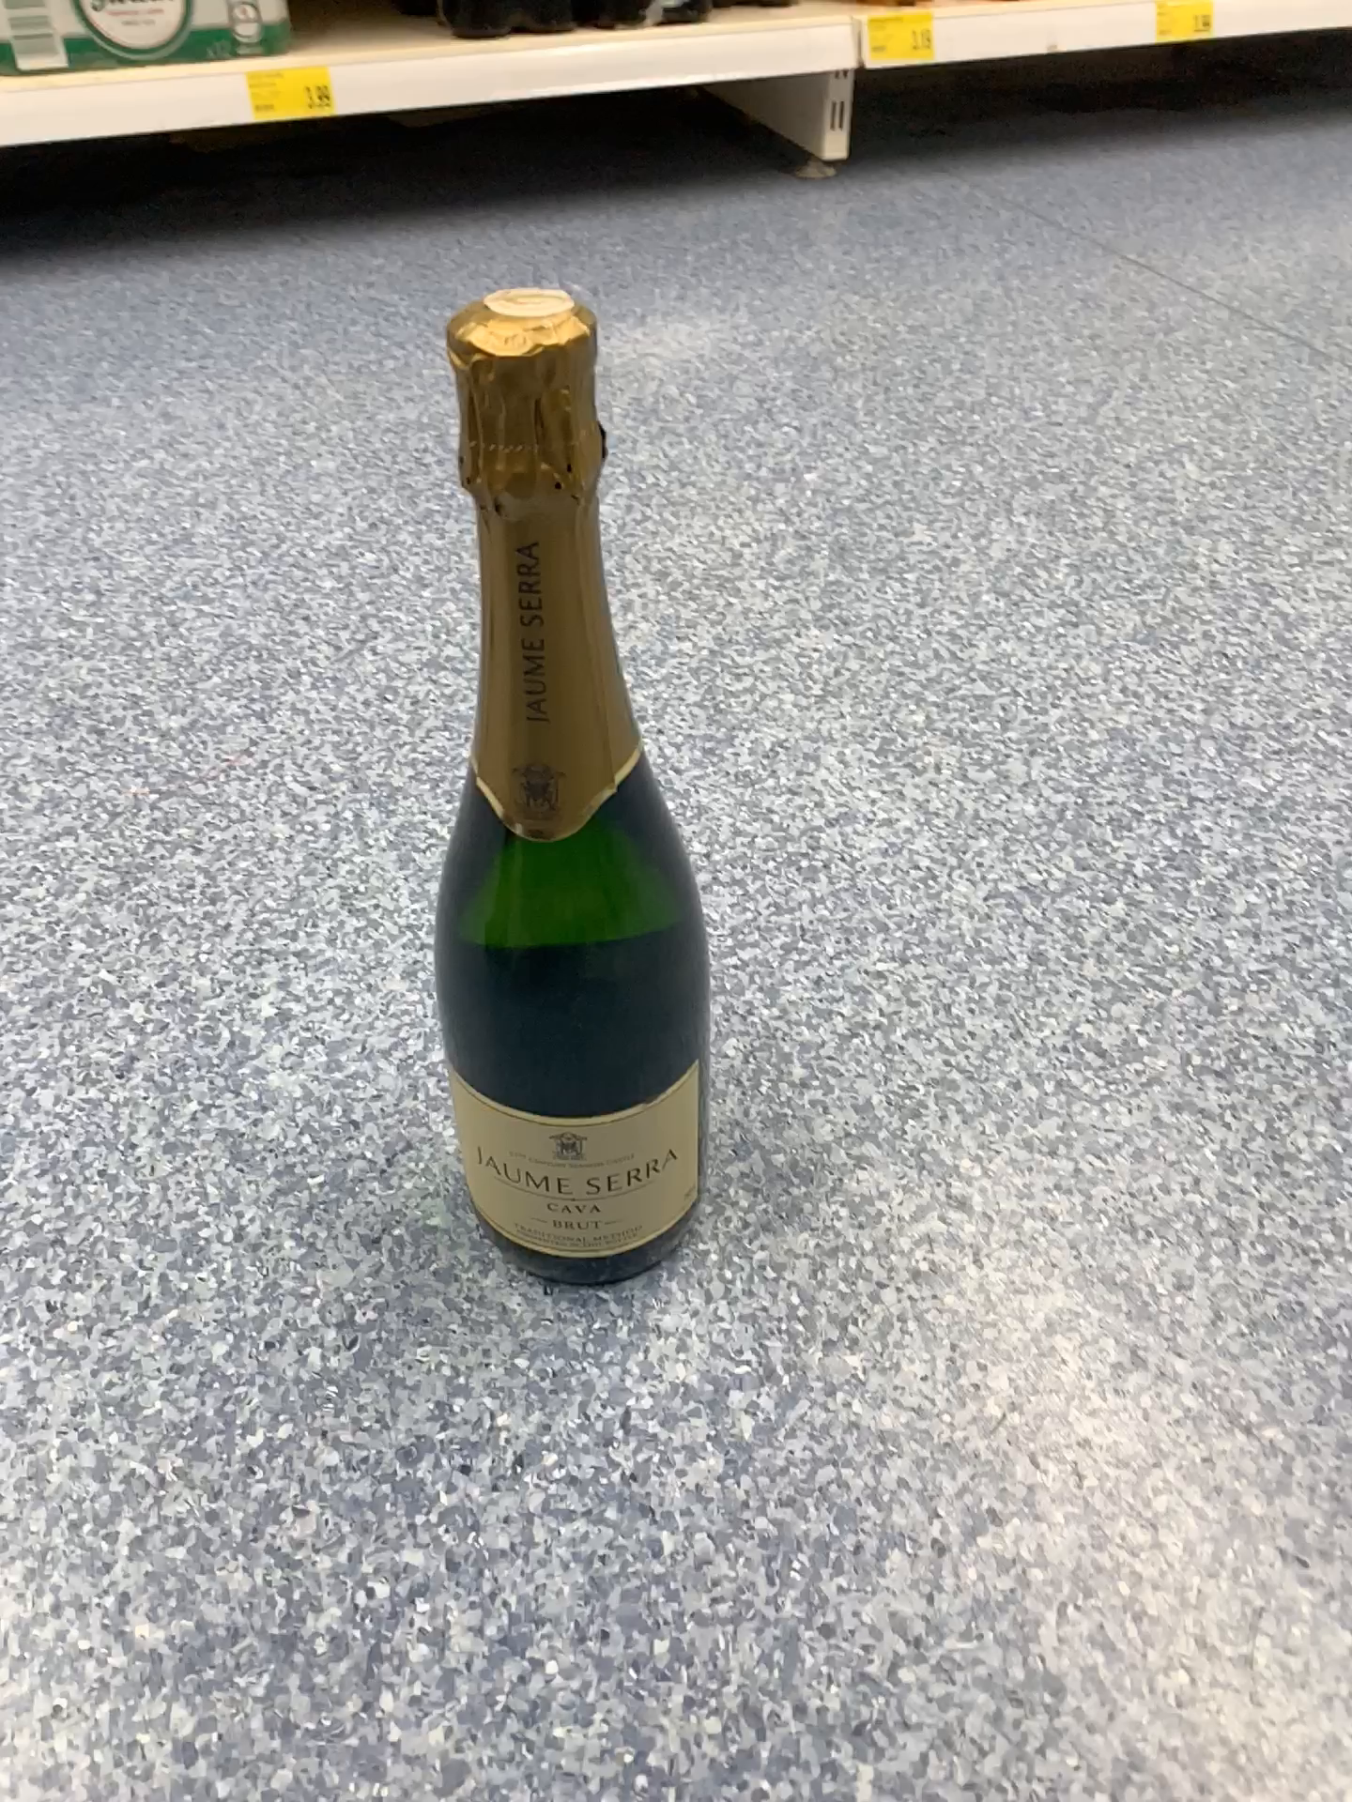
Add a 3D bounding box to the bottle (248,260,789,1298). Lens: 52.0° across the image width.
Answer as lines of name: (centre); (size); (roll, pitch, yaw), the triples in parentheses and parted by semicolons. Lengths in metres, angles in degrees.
bottle: (-0.030, -0.014, 0.400); (0.104, 0.291, 0.106); (0, 41, 0)
